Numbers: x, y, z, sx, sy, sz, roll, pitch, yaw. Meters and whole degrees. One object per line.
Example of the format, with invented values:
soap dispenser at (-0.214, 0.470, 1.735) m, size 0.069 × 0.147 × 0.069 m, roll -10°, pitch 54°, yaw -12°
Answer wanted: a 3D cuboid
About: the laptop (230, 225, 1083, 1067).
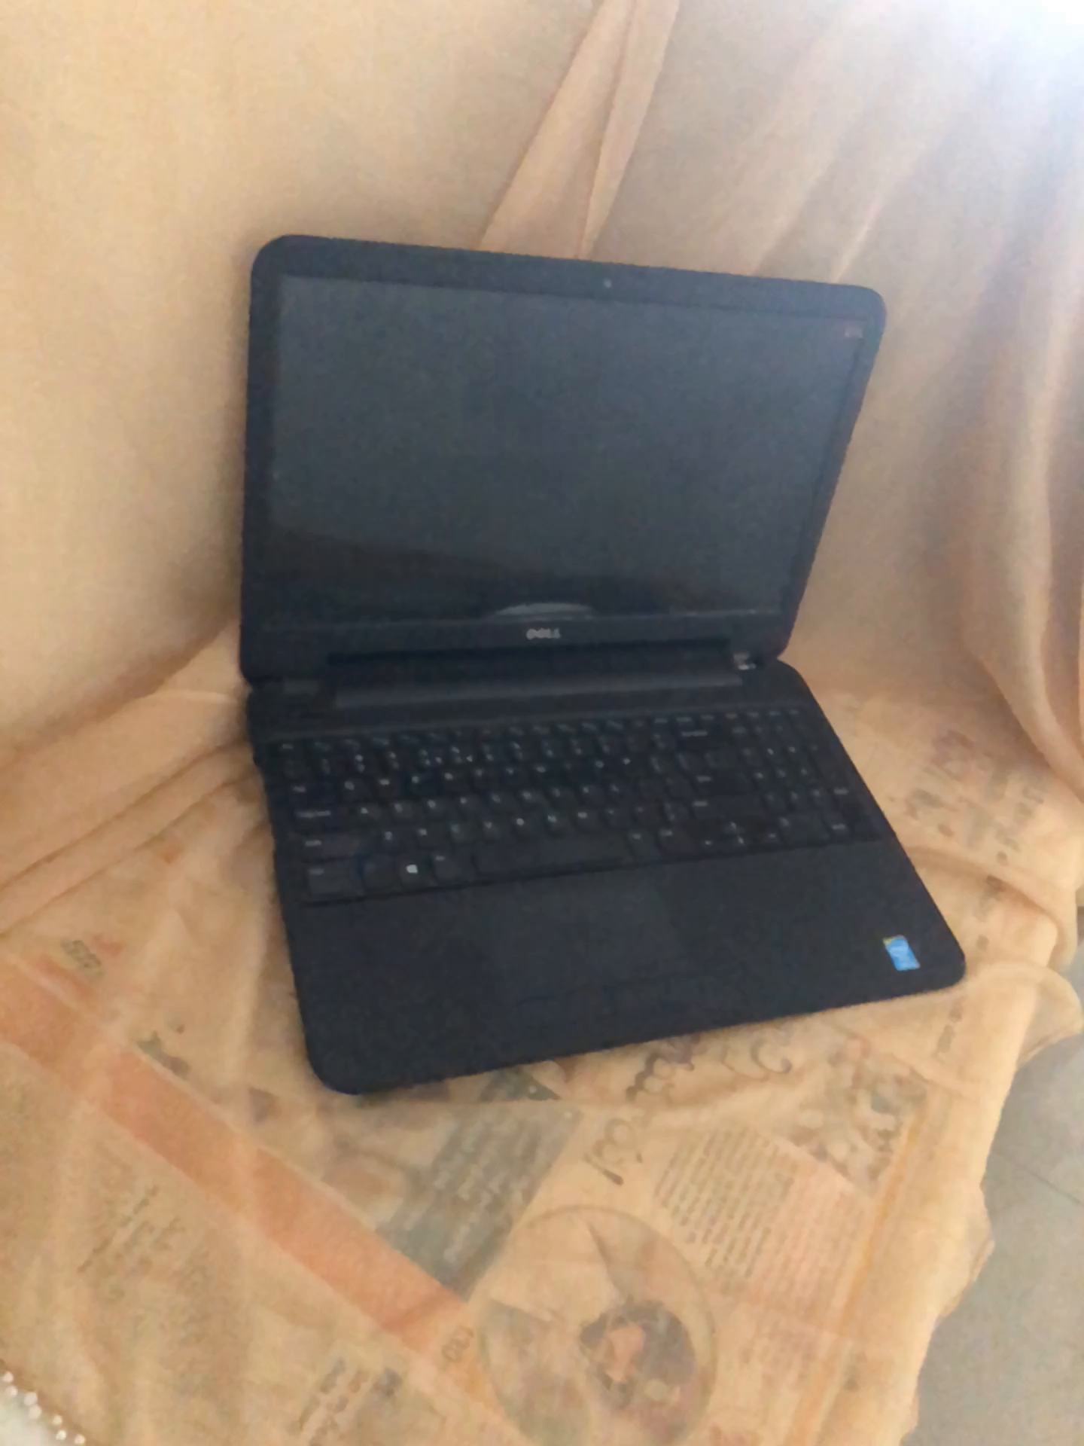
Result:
laptop at (0.045, -0.051, 0.609) m, size 0.348 × 0.225 × 0.307 m, roll -4°, pitch 48°, yaw -22°
